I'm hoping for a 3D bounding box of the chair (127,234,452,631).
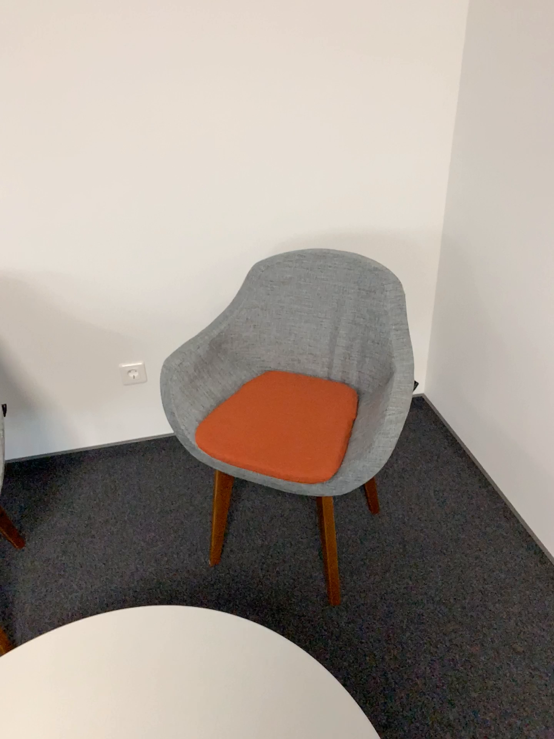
[{"bbox_3d":[0.065,0.141,1.578,0.630,0.835,0.503,12,34,22],"label":"chair"}]
